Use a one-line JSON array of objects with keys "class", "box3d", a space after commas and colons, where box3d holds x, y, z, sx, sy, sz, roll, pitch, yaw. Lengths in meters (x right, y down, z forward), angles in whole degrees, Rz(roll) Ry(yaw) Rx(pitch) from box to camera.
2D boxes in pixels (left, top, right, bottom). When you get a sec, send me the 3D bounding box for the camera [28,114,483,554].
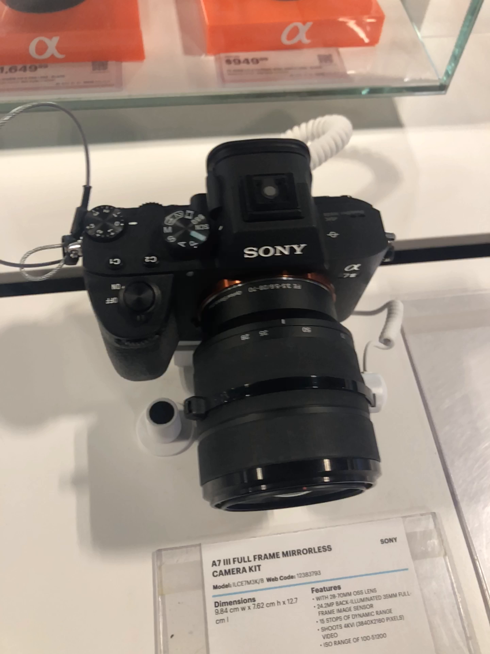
[{"class": "camera", "box3d": [-0.006, 0.005, 0.217, 0.120, 0.100, 0.130, -6, 61, -6]}]
